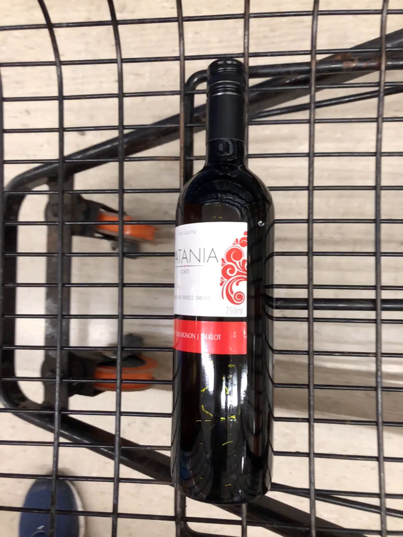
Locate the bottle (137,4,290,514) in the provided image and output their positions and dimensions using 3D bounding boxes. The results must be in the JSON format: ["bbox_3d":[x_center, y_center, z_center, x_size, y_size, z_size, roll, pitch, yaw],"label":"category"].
[{"bbox_3d":[0.006,-0.007,0.316,0.080,0.070,0.300,-4,86,52],"label":"bottle"}]
